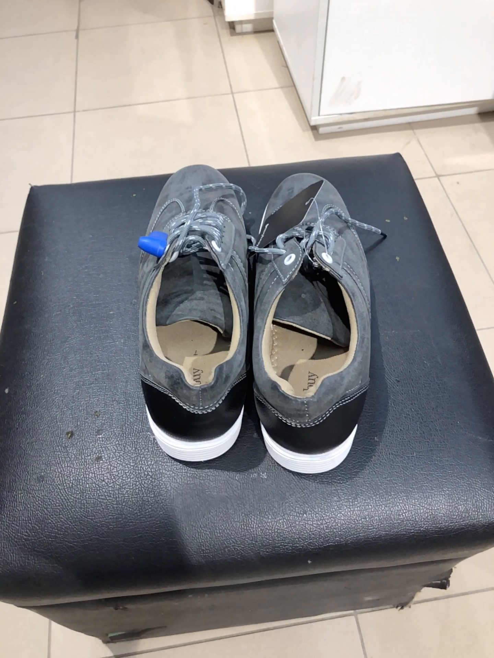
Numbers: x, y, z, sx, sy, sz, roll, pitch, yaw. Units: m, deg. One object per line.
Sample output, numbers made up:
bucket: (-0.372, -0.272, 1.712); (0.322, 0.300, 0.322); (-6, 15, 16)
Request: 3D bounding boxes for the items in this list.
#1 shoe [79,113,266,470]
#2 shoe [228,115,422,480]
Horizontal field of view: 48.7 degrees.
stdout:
shoe: (-0.044, -0.037, 0.408); (0.100, 0.107, 0.250); (-3, 55, 0)
shoe: (0.051, -0.033, 0.398); (0.100, 0.107, 0.250); (3, 56, 4)
